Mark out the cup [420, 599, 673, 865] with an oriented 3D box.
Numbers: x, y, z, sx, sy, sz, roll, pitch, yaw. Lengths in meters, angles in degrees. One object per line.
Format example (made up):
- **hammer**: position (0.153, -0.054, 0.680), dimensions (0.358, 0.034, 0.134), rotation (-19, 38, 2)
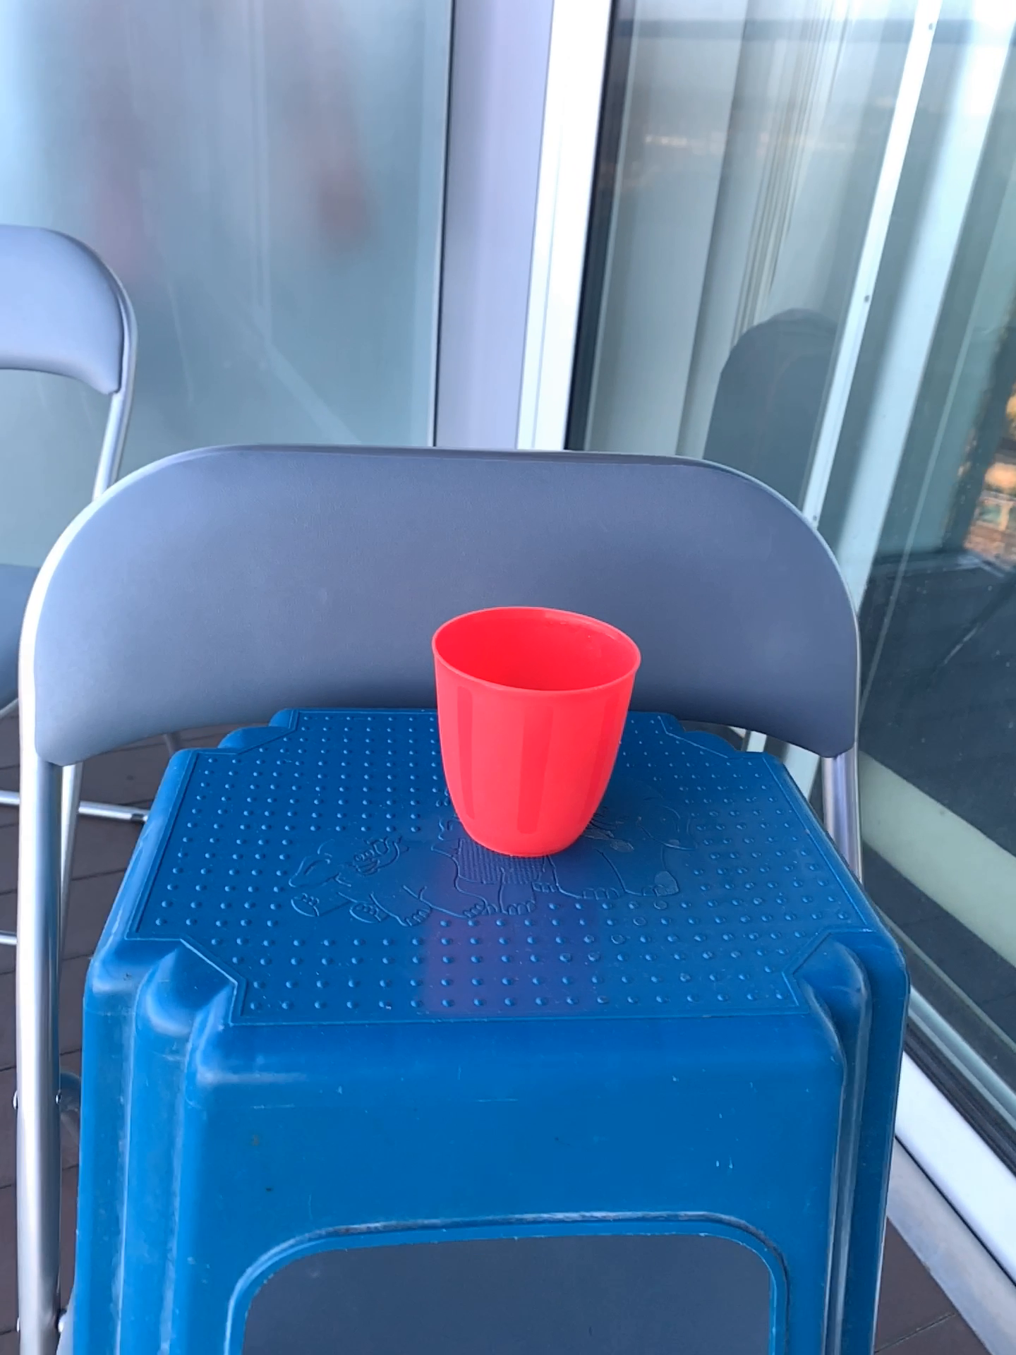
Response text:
- **cup**: position (0.010, 0.021, 0.421), dimensions (0.086, 0.077, 0.074), rotation (2, 30, -7)
